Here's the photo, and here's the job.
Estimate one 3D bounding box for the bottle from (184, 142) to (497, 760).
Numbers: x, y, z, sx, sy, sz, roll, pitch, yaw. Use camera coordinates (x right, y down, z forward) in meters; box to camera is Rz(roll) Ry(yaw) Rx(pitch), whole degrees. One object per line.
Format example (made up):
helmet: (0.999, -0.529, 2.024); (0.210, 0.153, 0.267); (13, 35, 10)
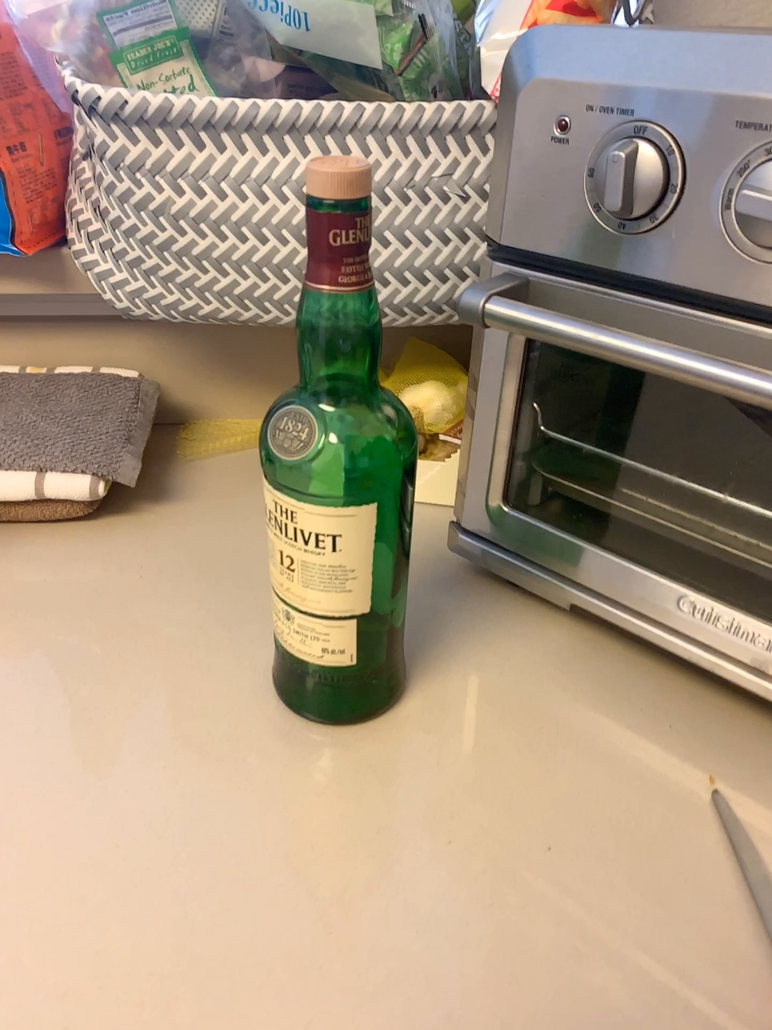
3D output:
bottle: (-0.021, -0.024, 0.394); (0.090, 0.278, 0.090); (1, 32, -1)
